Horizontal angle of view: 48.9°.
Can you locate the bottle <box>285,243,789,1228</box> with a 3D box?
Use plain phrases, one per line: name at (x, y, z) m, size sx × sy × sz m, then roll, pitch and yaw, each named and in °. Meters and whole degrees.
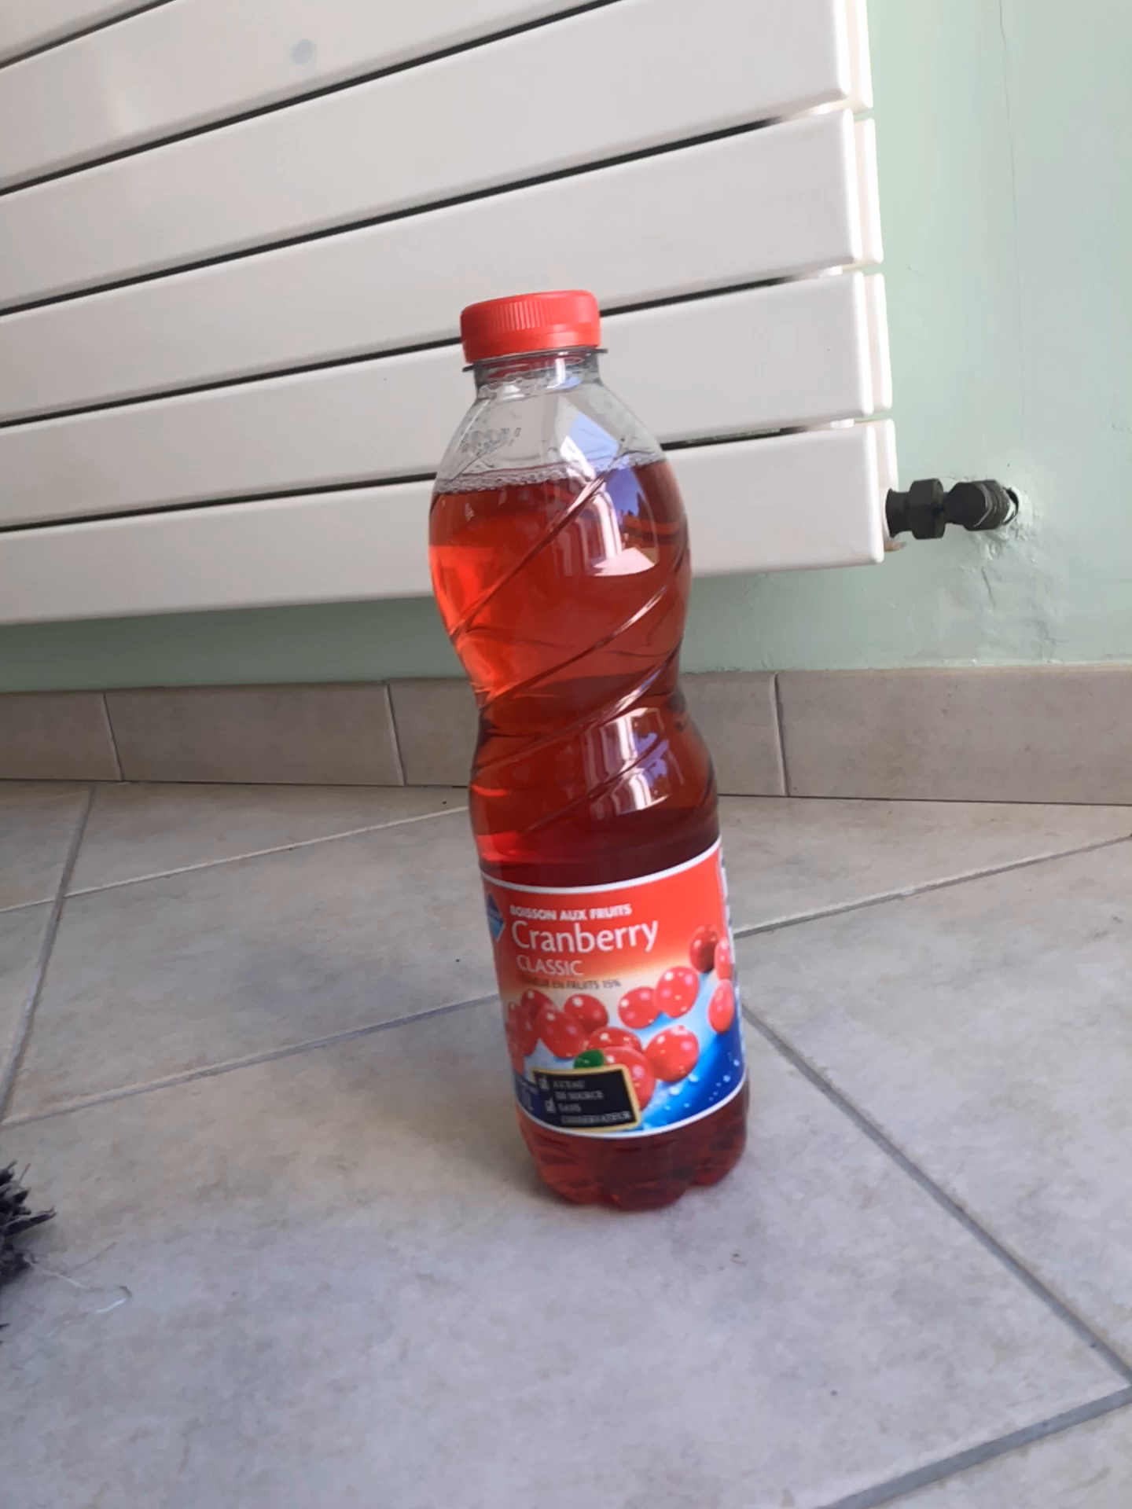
bottle at (0.001, -0.003, 0.369) m, size 0.090 × 0.259 × 0.080 m, roll -2°, pitch 15°, yaw 22°
